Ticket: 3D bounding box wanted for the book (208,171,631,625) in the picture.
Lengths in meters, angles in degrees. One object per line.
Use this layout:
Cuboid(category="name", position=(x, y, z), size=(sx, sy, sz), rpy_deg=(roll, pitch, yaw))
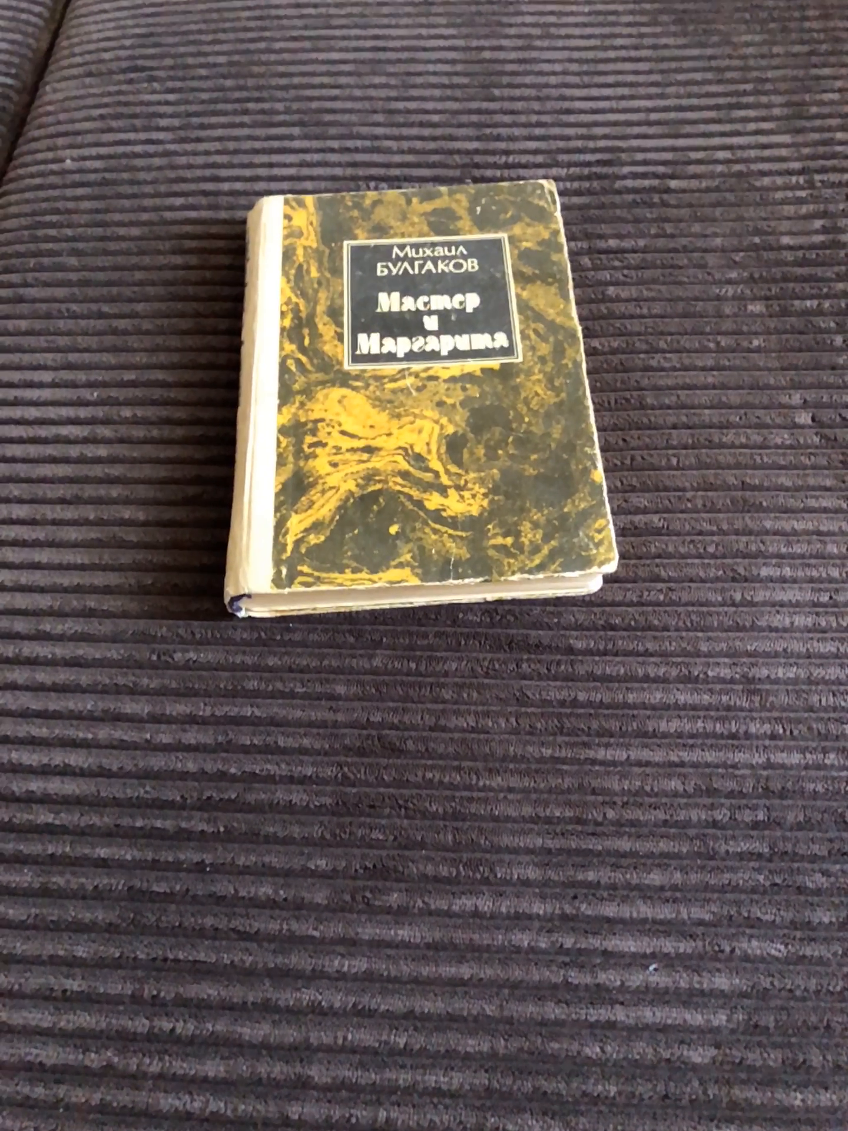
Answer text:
Cuboid(category="book", position=(-0.008, -0.084, 0.412), size=(0.154, 0.035, 0.221), rpy_deg=(-3, 59, -1))
